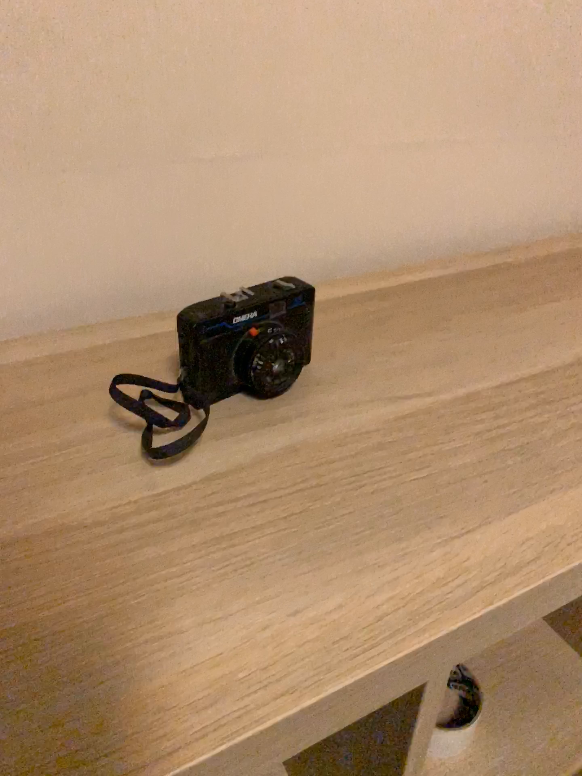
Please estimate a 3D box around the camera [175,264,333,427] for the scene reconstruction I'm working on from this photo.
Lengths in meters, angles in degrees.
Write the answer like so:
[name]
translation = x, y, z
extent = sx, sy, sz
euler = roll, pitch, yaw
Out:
[camera]
translation = -0.027, -0.035, 0.456
extent = 0.110, 0.089, 0.040
euler = -20, 41, -33
